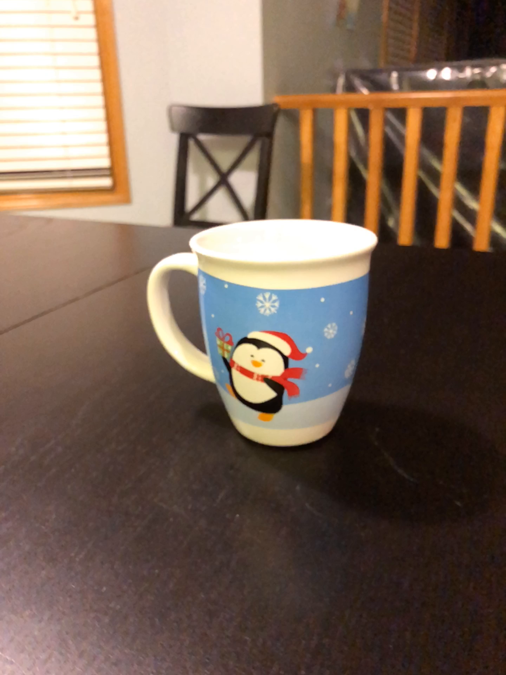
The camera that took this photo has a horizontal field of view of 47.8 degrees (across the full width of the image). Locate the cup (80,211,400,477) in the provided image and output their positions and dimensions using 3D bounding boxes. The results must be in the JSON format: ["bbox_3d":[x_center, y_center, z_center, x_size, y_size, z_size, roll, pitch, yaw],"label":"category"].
[{"bbox_3d":[-0.003,-0.009,0.322,0.140,0.100,0.100,9,24,25],"label":"cup"}]
